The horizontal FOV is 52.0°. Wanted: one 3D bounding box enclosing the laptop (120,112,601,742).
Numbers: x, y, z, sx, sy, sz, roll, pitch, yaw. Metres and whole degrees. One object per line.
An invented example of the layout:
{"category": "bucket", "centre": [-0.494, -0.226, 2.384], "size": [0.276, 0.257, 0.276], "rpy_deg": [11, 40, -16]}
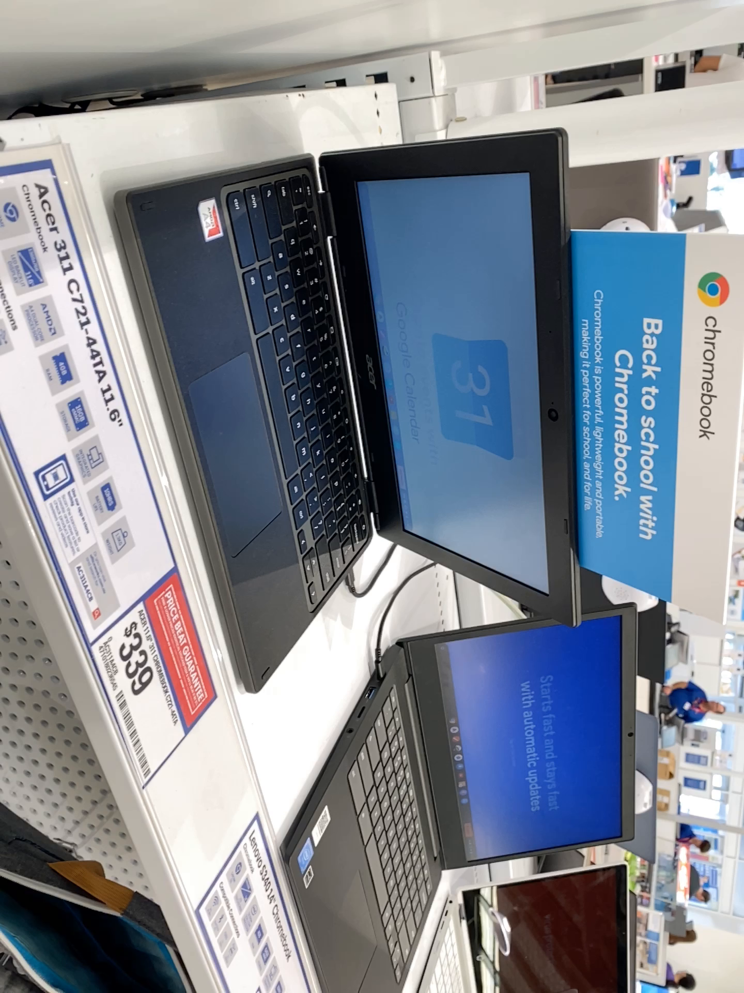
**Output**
{"category": "laptop", "centre": [0.027, -0.050, 0.455], "size": [0.201, 0.181, 0.290], "rpy_deg": [-51, 138, -54]}
